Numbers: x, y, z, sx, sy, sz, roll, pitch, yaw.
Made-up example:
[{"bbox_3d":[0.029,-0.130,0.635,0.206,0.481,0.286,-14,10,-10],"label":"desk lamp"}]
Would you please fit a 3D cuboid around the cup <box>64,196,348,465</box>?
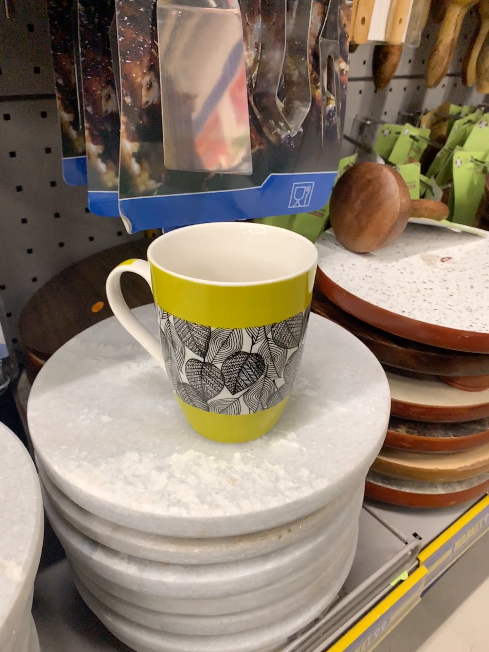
[{"bbox_3d":[-0.015,-0.004,0.261,0.110,0.090,0.080,13,33,16],"label":"cup"}]
